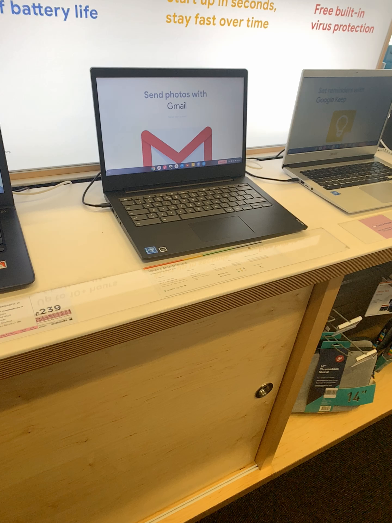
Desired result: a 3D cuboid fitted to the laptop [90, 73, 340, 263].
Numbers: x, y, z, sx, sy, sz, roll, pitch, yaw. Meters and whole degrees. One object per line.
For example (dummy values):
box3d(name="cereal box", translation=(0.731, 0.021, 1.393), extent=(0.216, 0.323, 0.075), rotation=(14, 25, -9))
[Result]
box3d(name="laptop", translation=(0.010, -0.190, 0.712), extent=(0.316, 0.201, 0.282), rotation=(-12, 40, -24))
